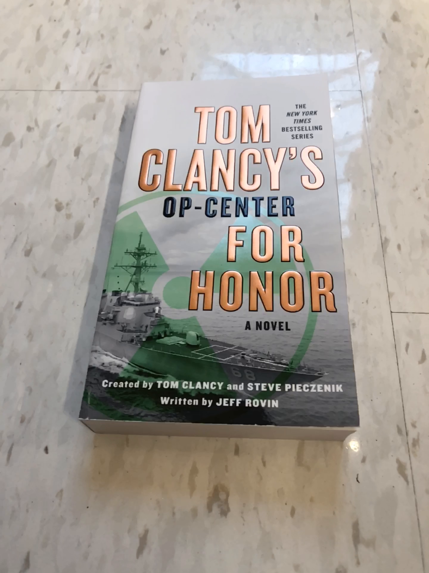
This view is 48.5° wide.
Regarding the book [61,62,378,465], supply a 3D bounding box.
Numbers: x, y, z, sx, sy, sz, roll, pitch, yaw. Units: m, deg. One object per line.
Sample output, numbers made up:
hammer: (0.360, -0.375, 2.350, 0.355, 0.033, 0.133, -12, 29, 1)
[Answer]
book: (0.006, -0.024, 0.236, 0.110, 0.050, 0.201, 1, 61, 4)
